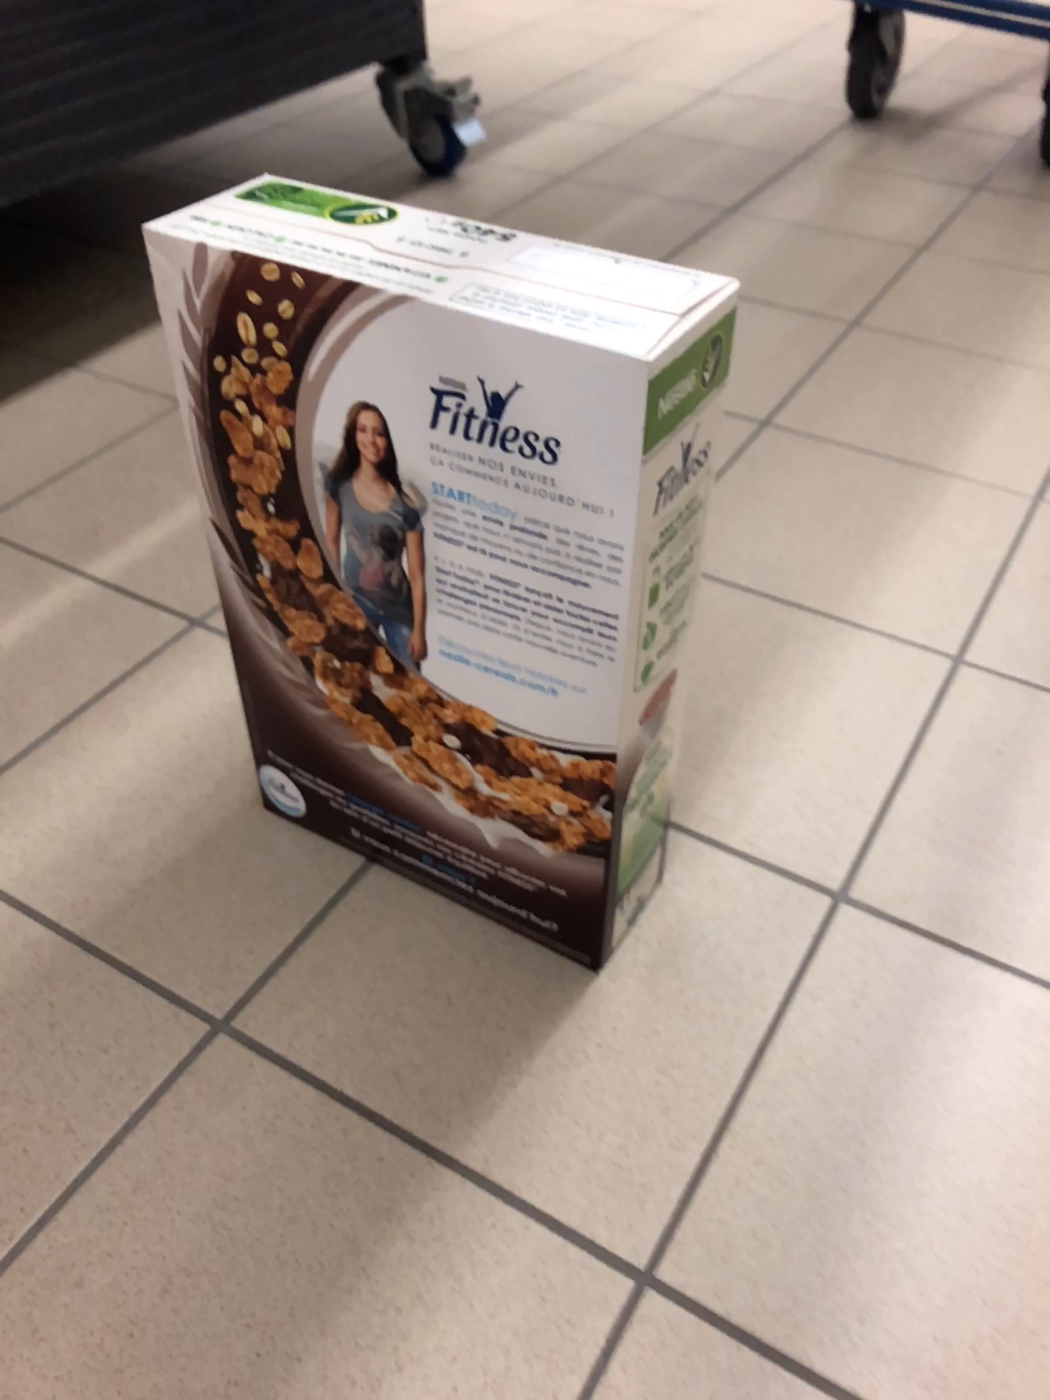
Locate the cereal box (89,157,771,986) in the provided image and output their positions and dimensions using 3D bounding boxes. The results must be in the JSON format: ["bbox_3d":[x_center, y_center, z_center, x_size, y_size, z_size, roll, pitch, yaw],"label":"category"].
[{"bbox_3d":[-0.036,-0.042,0.467,0.210,0.278,0.081,22,45,22],"label":"cereal box"}]
